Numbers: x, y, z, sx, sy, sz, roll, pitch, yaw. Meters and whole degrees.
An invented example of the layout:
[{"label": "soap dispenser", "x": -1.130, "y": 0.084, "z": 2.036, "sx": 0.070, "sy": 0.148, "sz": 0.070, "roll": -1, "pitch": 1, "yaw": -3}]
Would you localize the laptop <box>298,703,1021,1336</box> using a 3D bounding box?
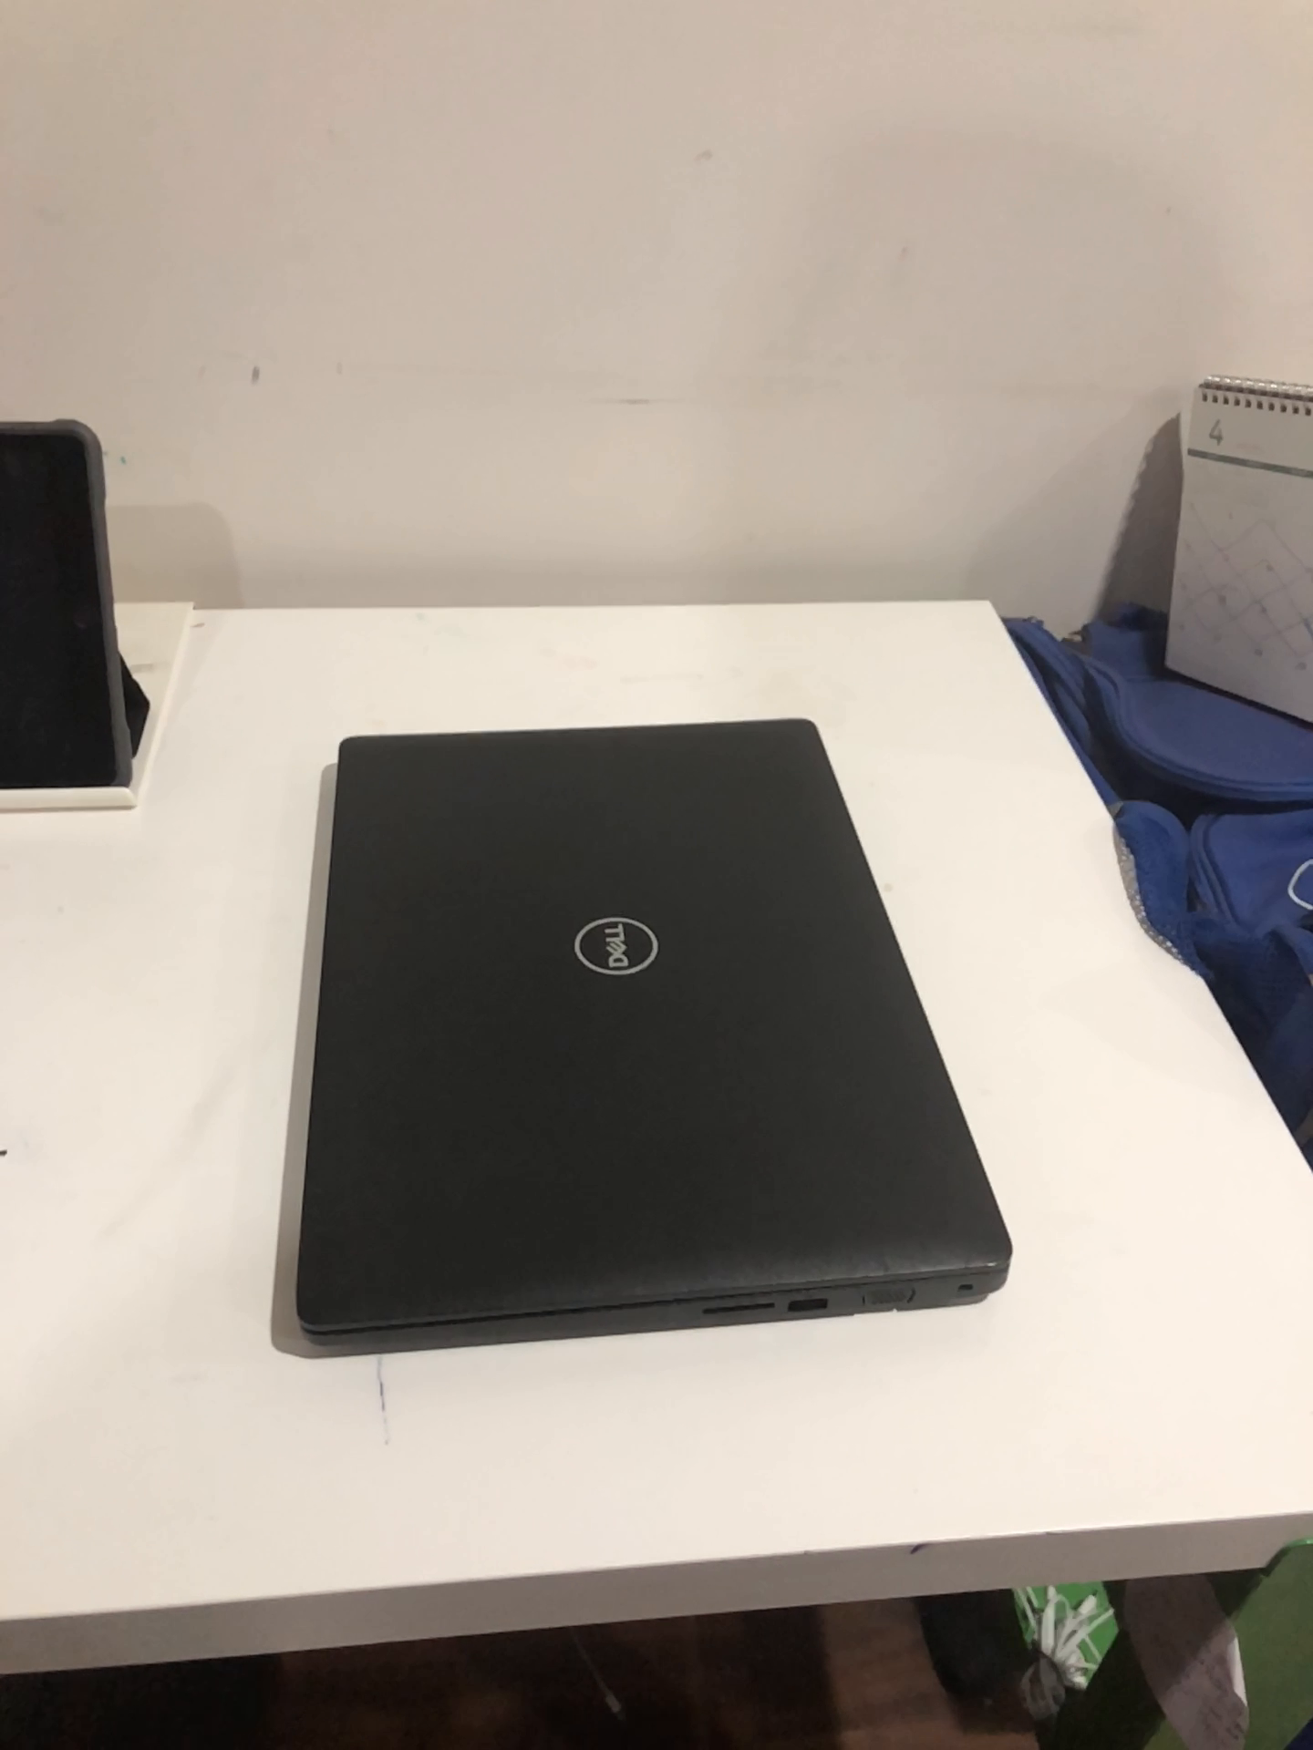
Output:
[{"label": "laptop", "x": -0.017, "y": 0.032, "z": 0.610, "sx": 0.241, "sy": 0.010, "sz": 0.334, "roll": -4, "pitch": 41, "yaw": -5}]
